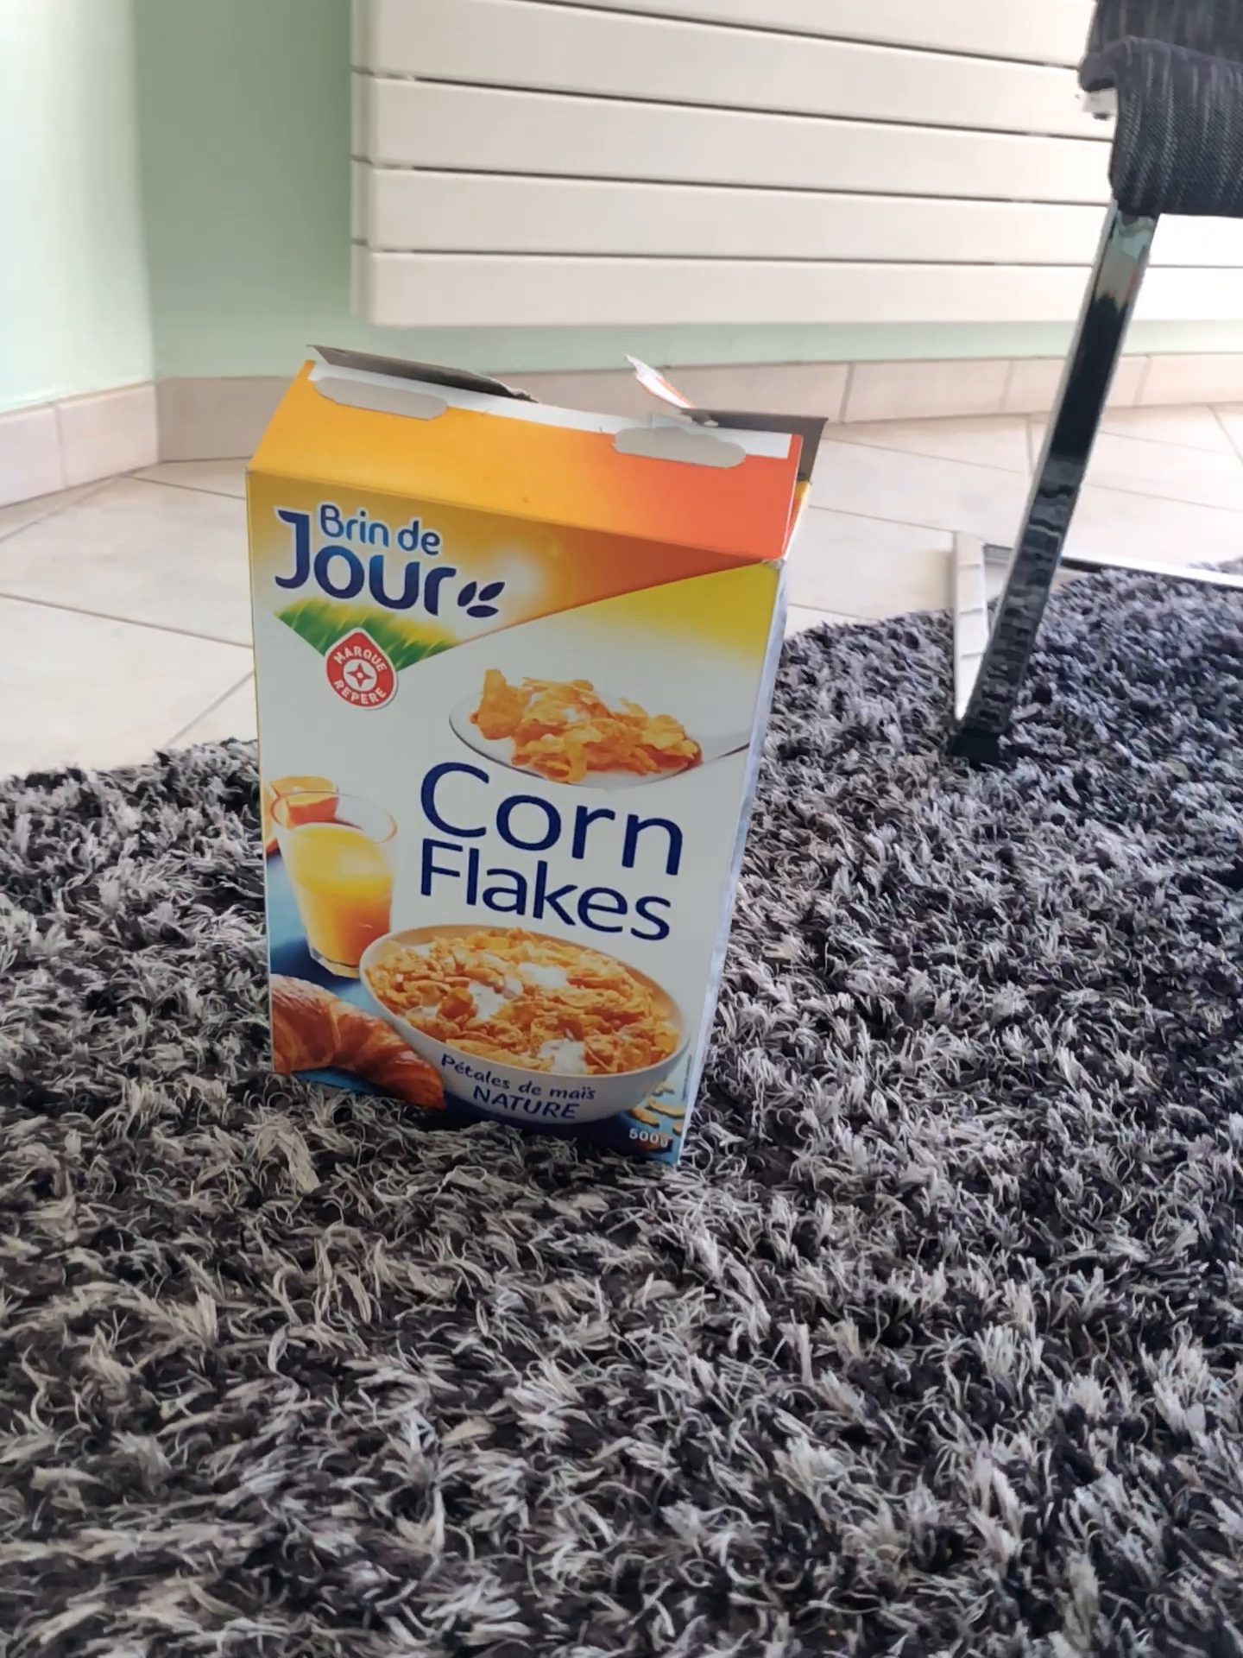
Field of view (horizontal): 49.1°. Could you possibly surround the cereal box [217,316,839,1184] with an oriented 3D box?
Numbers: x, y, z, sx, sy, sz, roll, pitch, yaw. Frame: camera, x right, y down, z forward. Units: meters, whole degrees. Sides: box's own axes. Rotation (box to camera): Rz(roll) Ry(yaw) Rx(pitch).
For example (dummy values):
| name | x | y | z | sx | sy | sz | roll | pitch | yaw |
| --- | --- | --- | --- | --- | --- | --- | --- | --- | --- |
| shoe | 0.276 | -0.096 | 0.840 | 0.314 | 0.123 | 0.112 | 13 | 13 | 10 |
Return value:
| name | x | y | z | sx | sy | sz | roll | pitch | yaw |
| --- | --- | --- | --- | --- | --- | --- | --- | --- | --- |
| cereal box | -0.044 | -0.025 | 0.559 | 0.200 | 0.308 | 0.101 | 12 | 31 | 7 |
